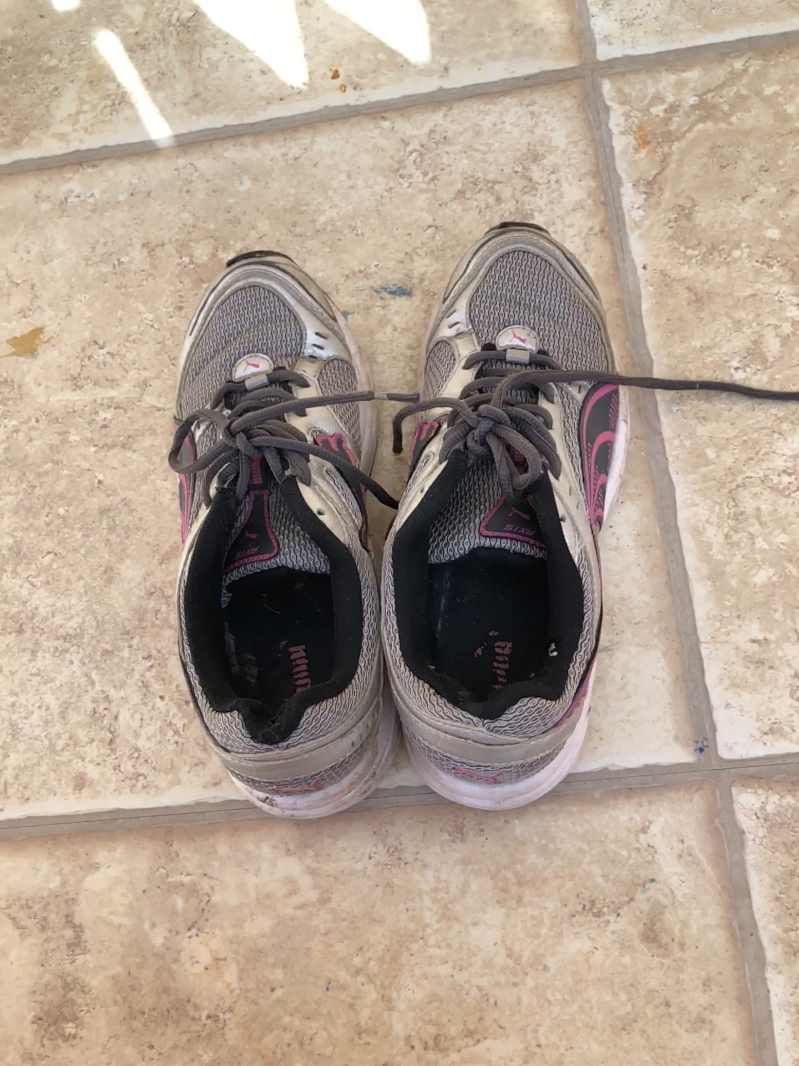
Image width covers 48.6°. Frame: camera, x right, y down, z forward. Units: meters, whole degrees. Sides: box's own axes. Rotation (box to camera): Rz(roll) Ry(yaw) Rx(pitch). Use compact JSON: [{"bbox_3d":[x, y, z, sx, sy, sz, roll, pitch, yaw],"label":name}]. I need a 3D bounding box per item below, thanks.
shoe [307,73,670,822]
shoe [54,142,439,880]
[{"bbox_3d":[0.044,-0.026,0.373,0.110,0.140,0.271,1,74,9],"label":"shoe"},{"bbox_3d":[-0.064,-0.003,0.393,0.110,0.140,0.271,-10,72,6],"label":"shoe"}]
